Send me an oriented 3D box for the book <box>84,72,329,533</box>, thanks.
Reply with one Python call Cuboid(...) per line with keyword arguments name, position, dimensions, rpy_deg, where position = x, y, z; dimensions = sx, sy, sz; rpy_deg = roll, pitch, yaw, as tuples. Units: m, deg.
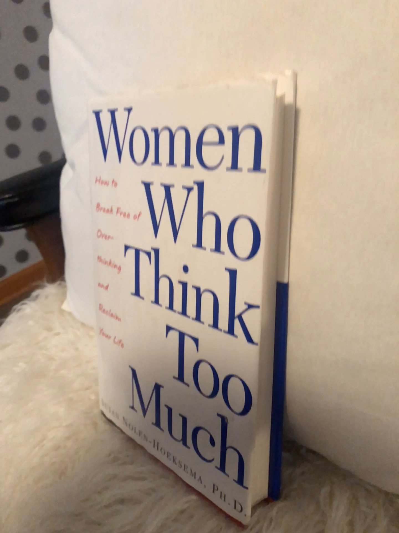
Cuboid(name="book", position=(-0.014, 0.012, 0.293), dimensions=(0.040, 0.241, 0.166), rpy_deg=(-10, 19, -44))
